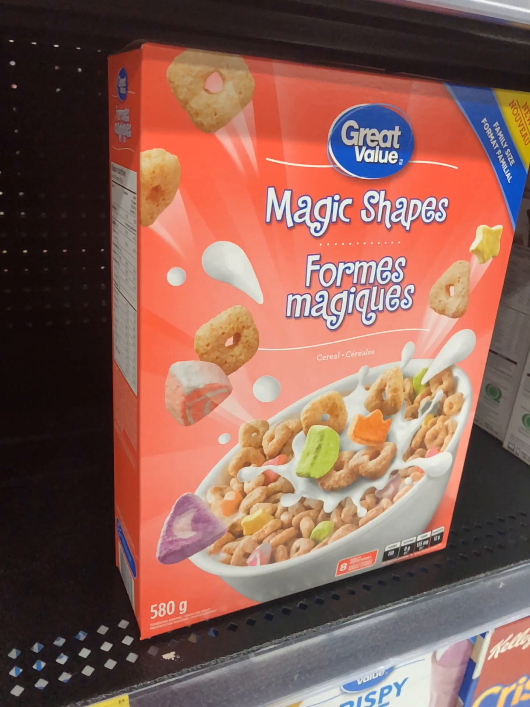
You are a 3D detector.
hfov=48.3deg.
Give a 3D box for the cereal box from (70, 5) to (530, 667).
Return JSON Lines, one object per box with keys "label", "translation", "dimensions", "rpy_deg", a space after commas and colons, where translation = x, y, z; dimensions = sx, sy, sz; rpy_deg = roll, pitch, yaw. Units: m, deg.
{"label": "cereal box", "translation": [0.020, -0.002, 0.373], "dimensions": [0.250, 0.339, 0.080], "rpy_deg": [-6, 22, -25]}
